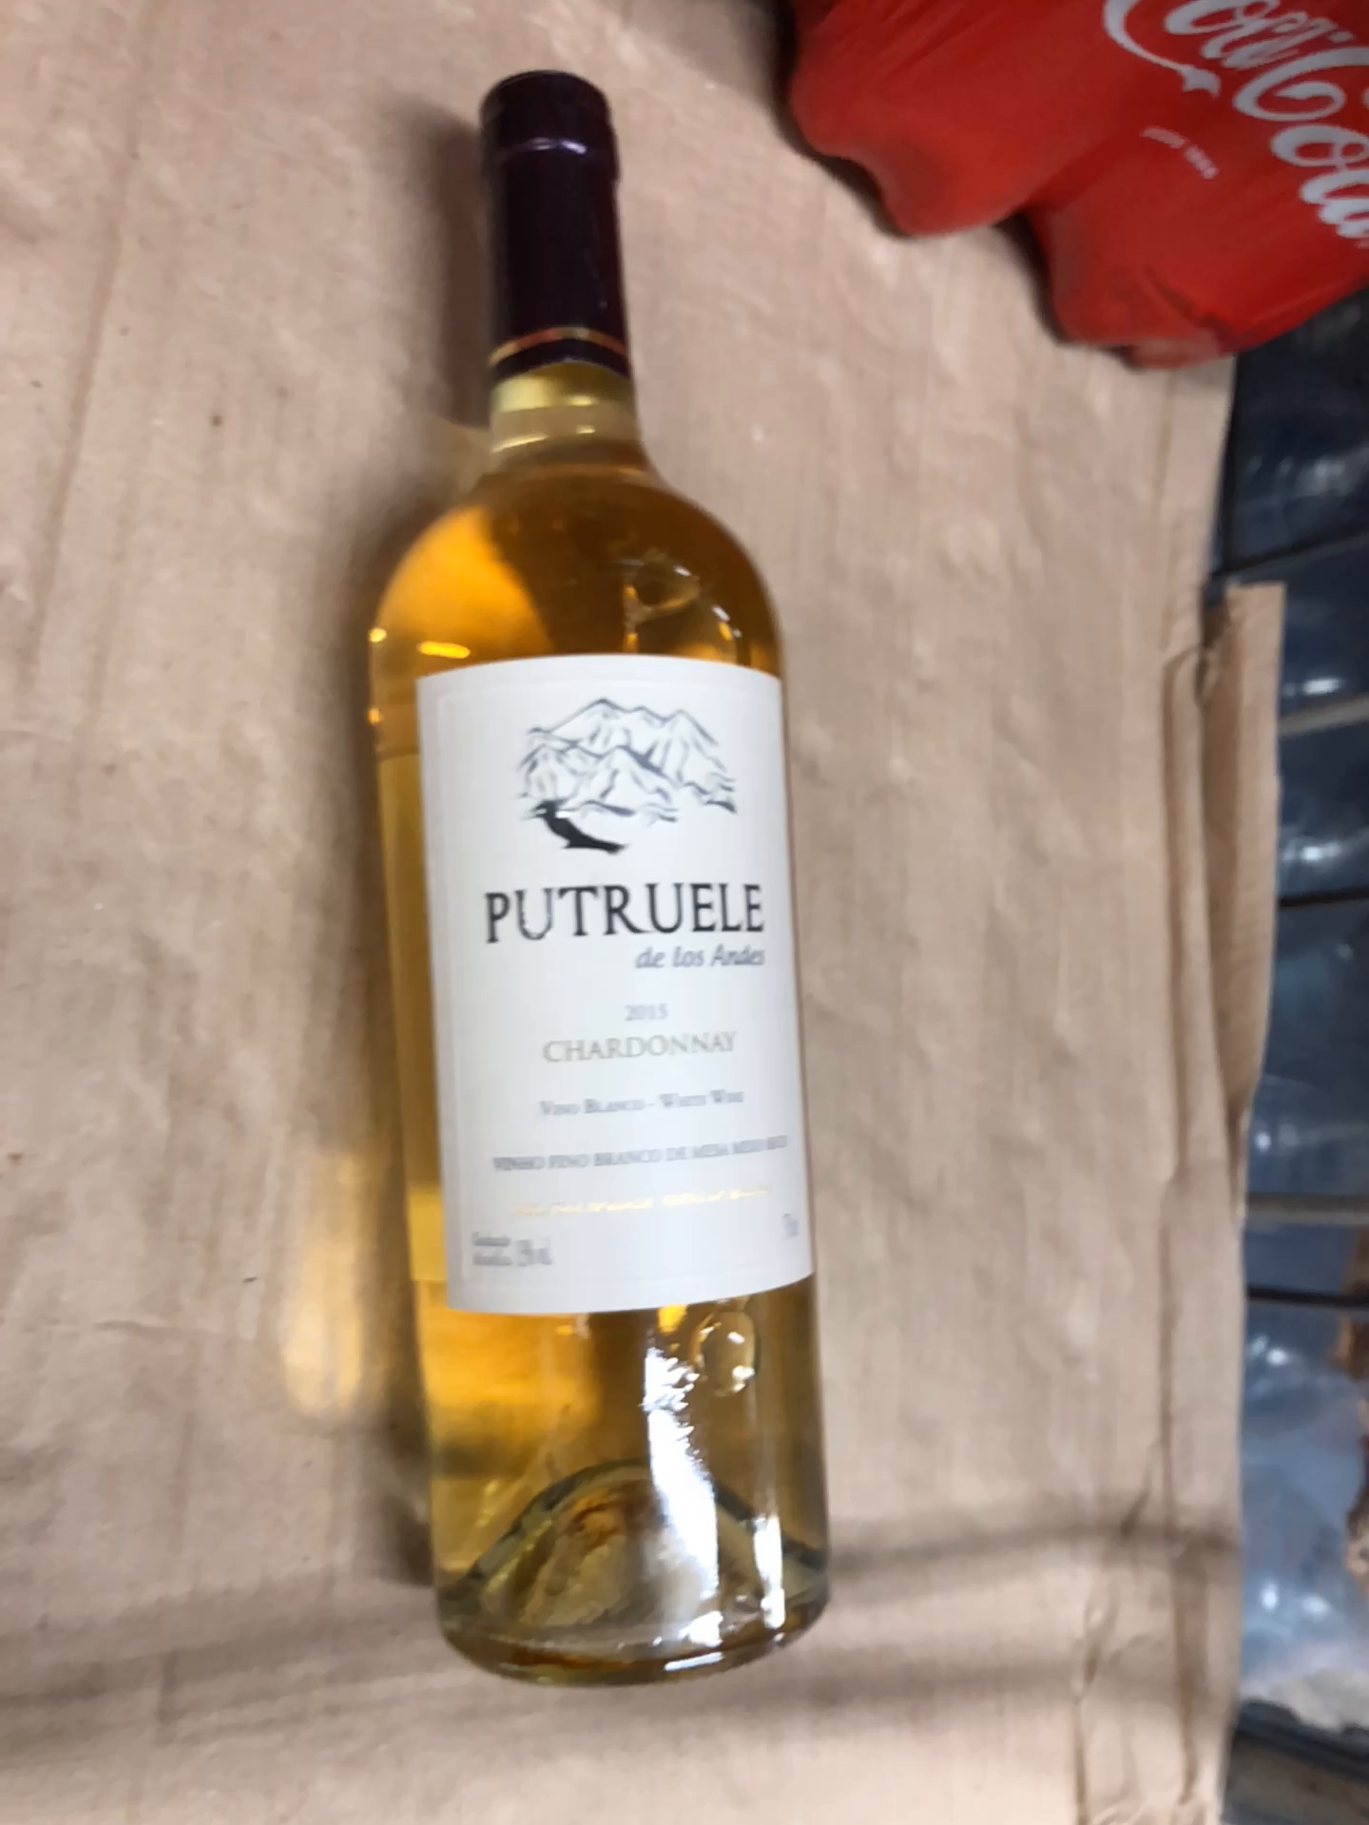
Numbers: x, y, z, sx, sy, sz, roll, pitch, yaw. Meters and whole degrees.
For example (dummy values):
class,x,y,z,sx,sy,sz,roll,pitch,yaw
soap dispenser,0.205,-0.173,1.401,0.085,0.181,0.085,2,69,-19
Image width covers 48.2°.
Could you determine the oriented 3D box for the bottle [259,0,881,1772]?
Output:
class,x,y,z,sx,sy,sz,roll,pitch,yaw
bottle,-0.028,-0.024,0.279,0.080,0.070,0.300,-3,84,-16
